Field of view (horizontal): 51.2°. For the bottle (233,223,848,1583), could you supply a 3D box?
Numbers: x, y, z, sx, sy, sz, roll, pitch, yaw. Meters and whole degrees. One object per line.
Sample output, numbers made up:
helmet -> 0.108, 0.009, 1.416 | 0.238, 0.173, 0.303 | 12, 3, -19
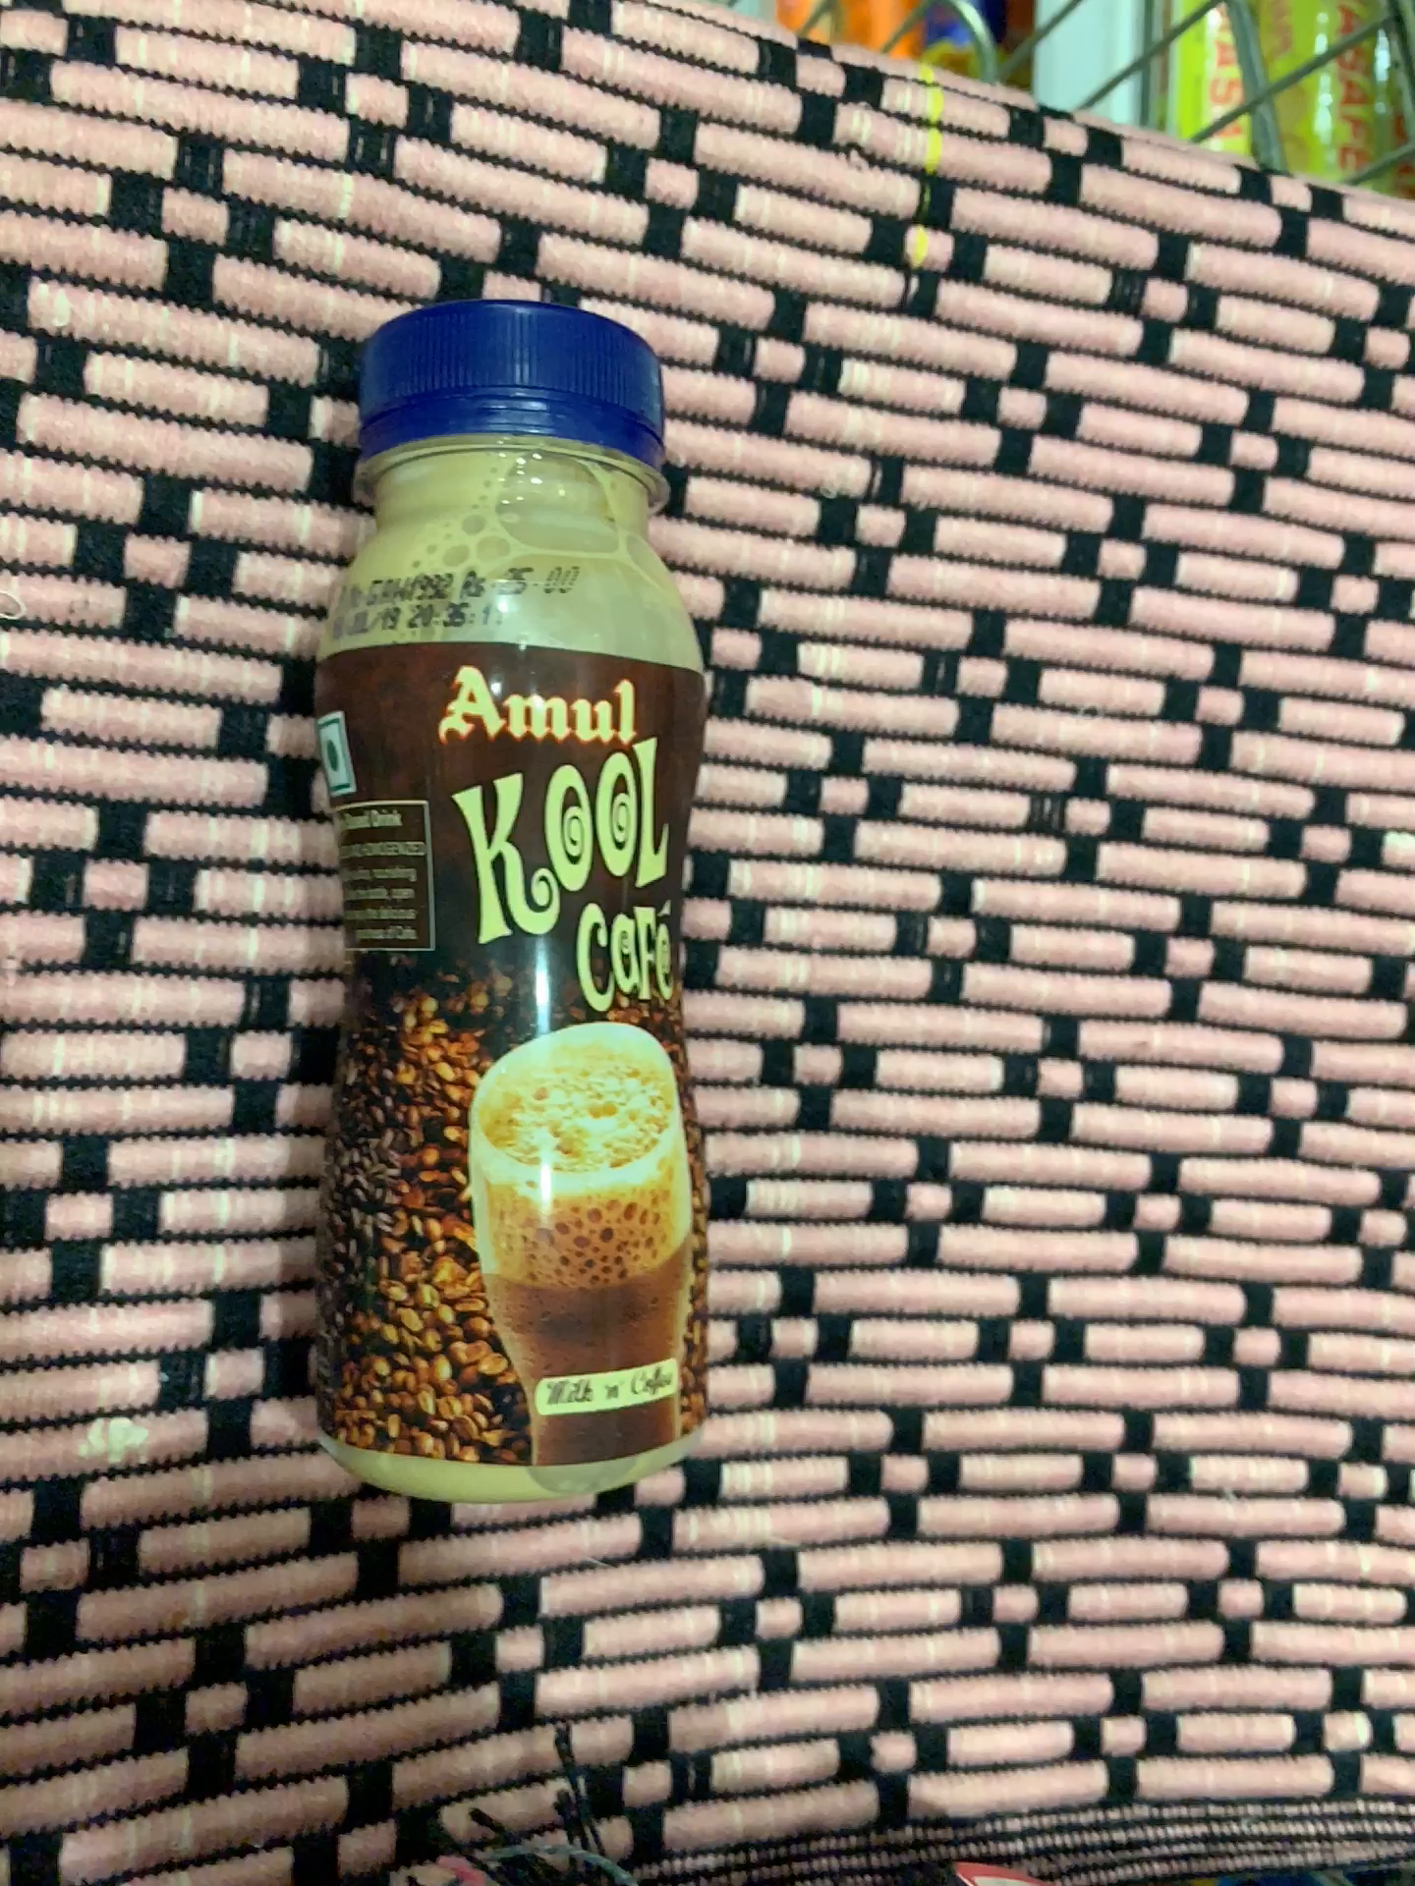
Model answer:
bottle -> -0.024, -0.004, 0.187 | 0.060, 0.050, 0.140 | 0, 86, -27
